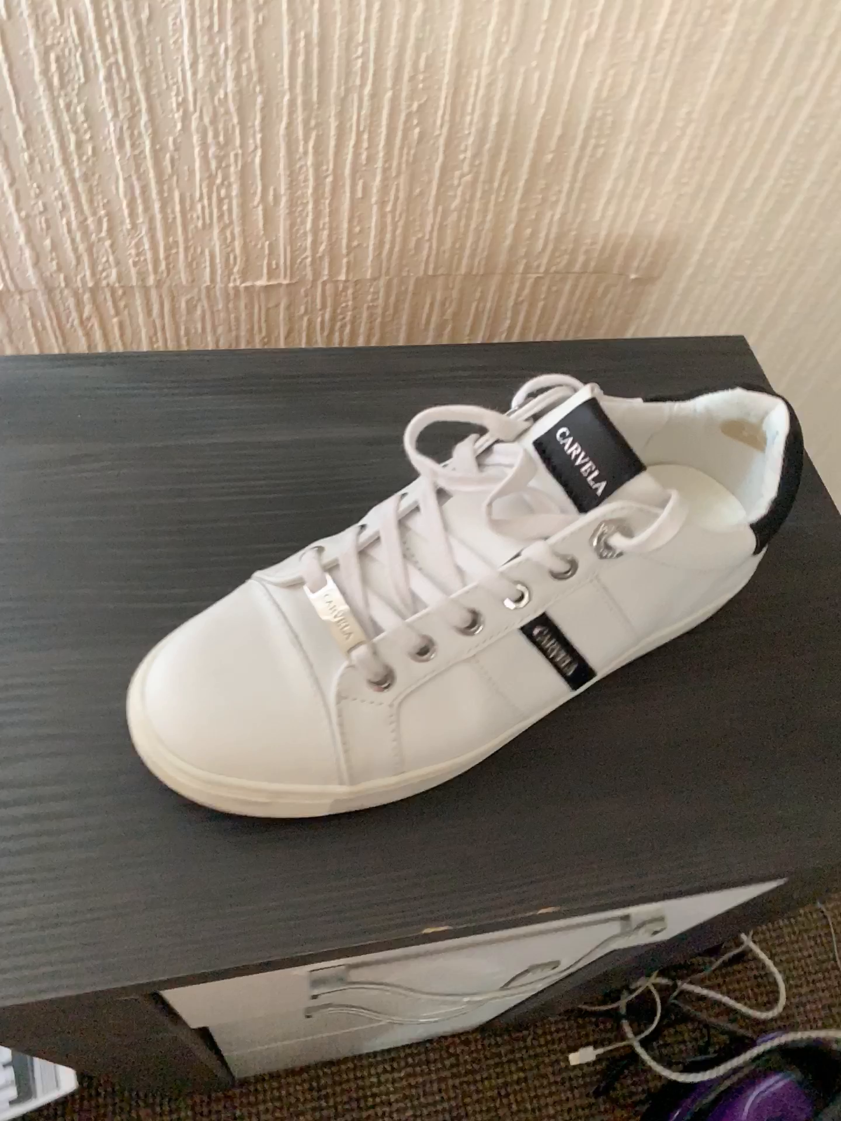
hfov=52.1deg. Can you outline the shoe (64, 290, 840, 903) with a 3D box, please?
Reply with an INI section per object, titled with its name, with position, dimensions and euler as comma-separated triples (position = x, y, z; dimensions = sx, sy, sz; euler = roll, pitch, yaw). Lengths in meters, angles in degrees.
[shoe]
position = 0.027, 0.000, 0.315
dimensions = 0.261, 0.087, 0.104
euler = -23, 63, -23
